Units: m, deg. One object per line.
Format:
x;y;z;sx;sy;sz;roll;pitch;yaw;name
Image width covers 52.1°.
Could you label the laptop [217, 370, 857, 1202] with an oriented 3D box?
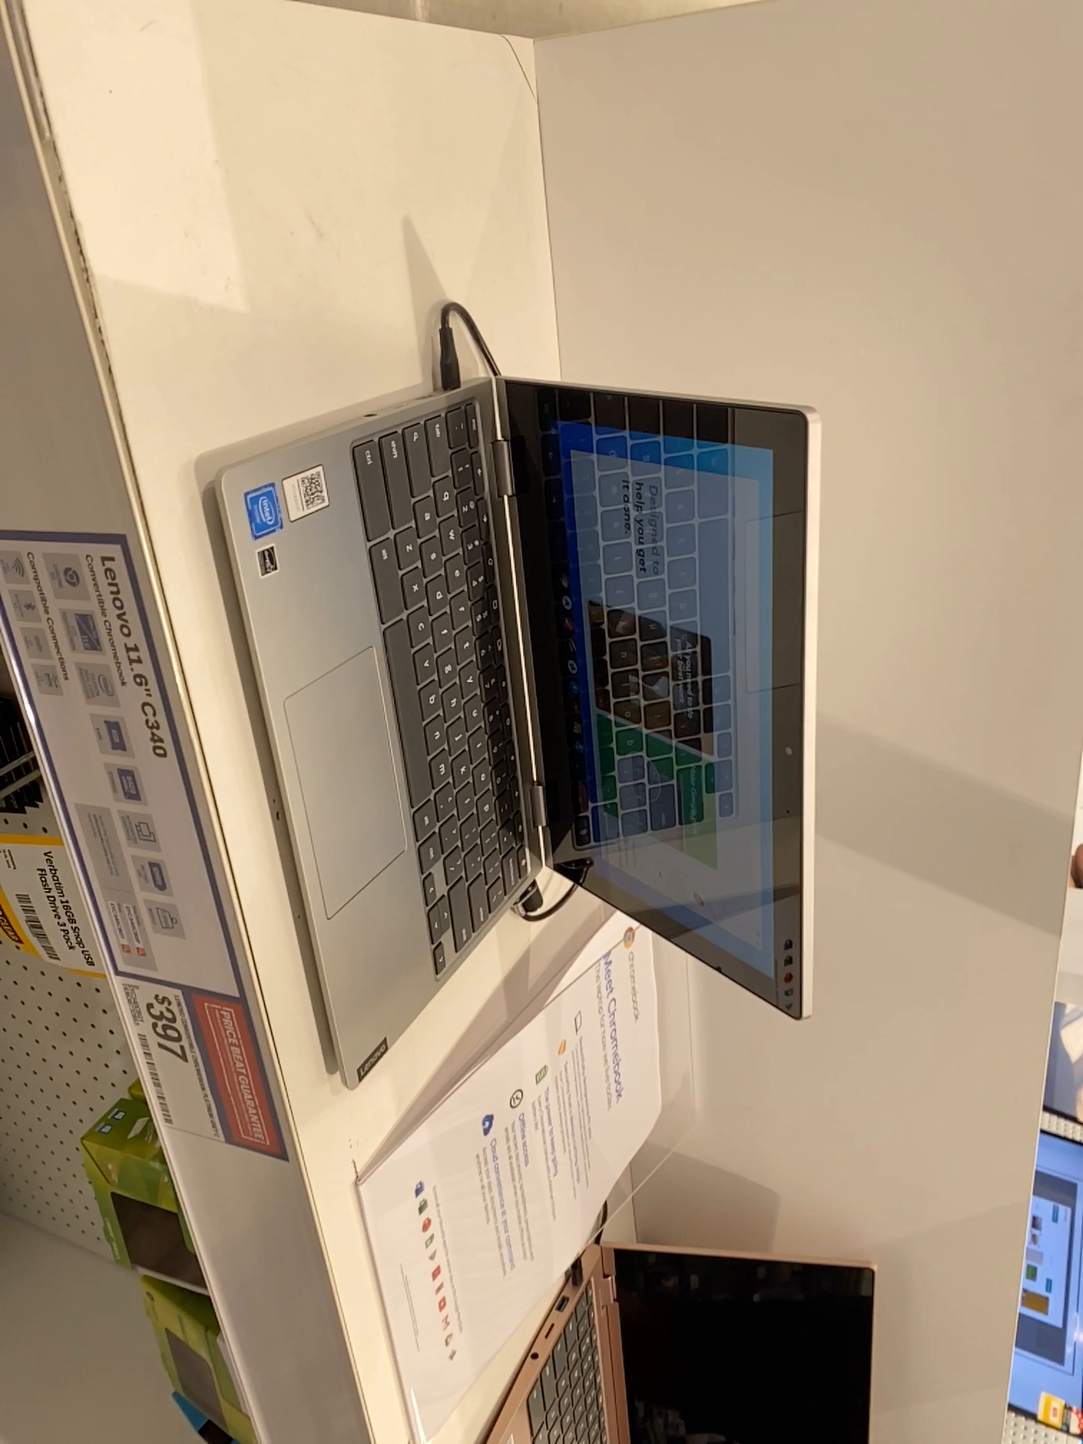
0.023;0.009;0.495;0.201;0.180;0.284;-42;133;-53;laptop
